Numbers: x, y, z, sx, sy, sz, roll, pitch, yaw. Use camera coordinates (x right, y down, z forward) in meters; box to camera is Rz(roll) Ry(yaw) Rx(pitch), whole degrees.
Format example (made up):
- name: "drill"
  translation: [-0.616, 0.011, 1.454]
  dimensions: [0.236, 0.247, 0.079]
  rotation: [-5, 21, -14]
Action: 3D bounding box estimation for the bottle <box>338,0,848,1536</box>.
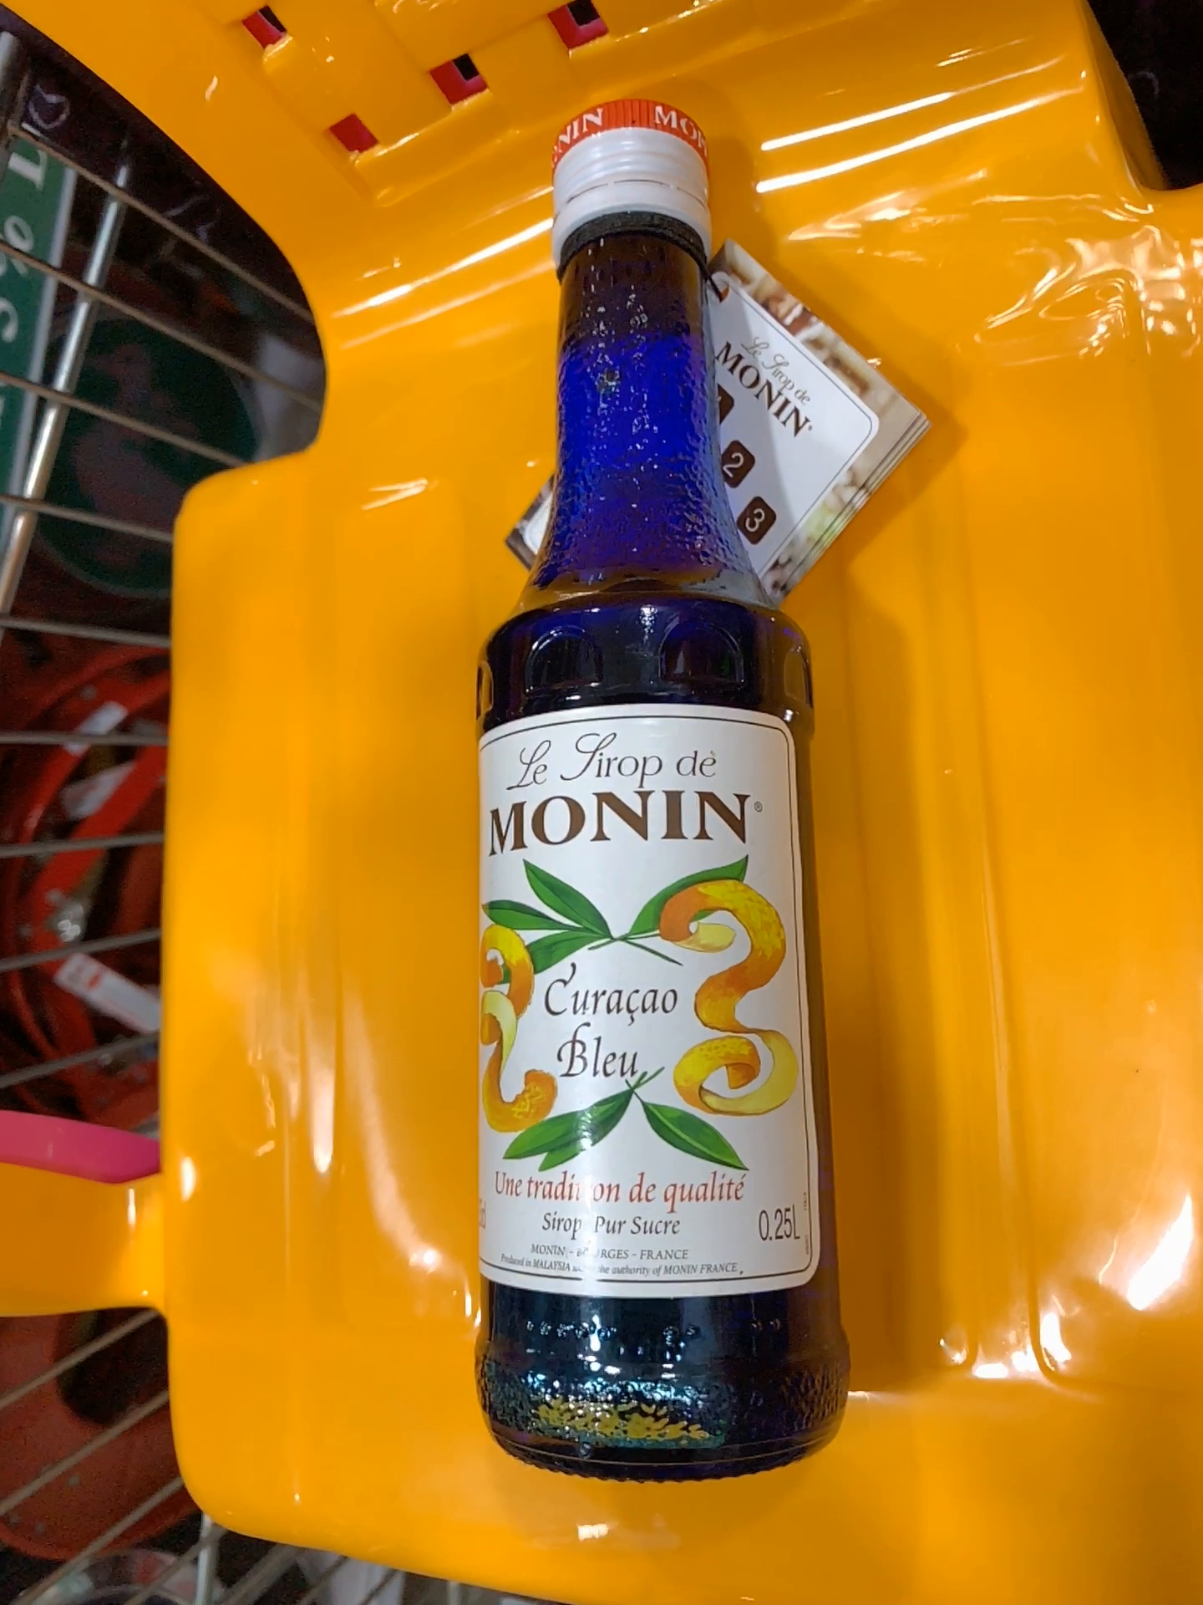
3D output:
- name: "bottle"
  translation: [0.000, -0.016, 0.200]
  dimensions: [0.060, 0.050, 0.220]
  rotation: [-4, 79, 20]
